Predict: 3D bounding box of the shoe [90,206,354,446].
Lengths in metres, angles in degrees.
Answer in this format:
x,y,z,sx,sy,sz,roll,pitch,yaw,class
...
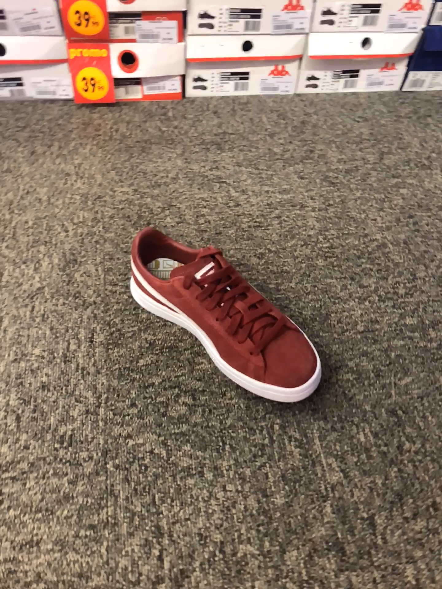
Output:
x,y,z,sx,sy,sz,roll,pitch,yaw,class
-0.007,0.022,0.498,0.250,0.080,0.101,36,57,23,shoe
